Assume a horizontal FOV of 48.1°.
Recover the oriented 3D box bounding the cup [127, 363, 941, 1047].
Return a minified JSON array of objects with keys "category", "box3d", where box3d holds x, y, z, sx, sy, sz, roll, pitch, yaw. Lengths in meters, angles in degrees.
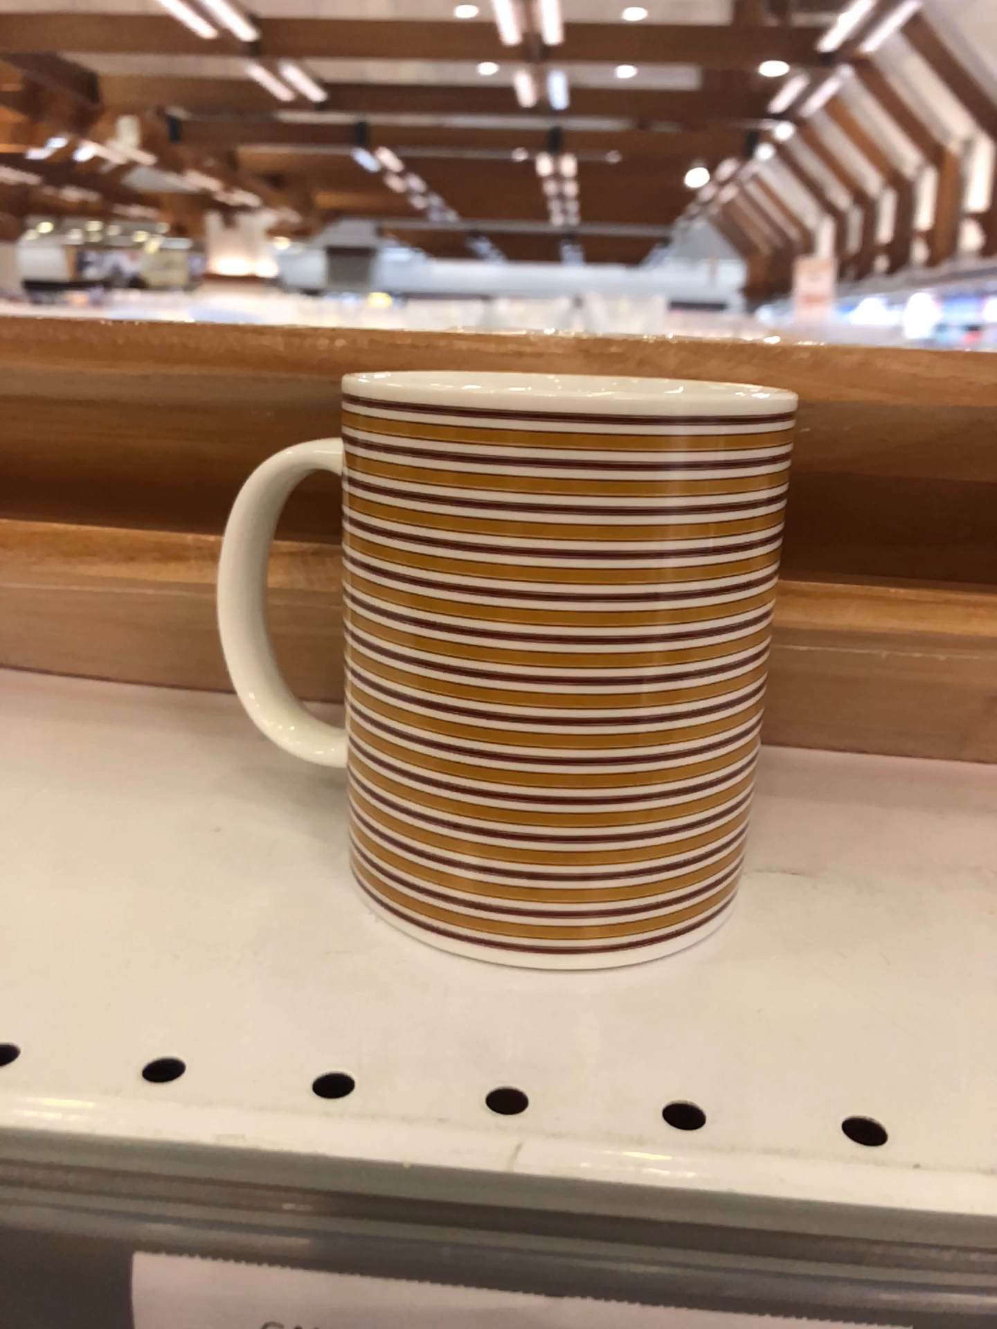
[{"category":"cup","box3d":[0.004,-0.010,0.218,0.120,0.090,0.090,15,20,37]}]
